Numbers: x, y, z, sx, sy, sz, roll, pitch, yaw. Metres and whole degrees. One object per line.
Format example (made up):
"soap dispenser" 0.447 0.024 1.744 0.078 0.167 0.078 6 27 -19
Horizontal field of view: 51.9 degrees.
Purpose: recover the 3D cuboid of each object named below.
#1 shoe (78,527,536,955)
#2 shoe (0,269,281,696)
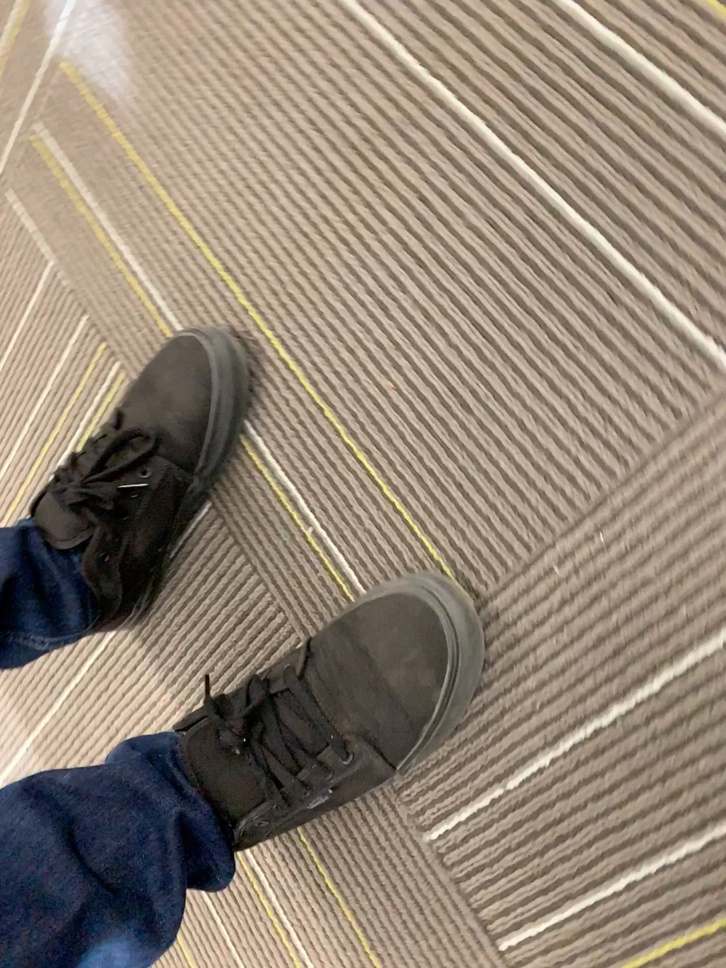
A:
"shoe" -0.049 0.166 0.478 0.293 0.112 0.109 -47 67 29
"shoe" -0.192 0.004 0.571 0.109 0.112 0.292 40 115 27
